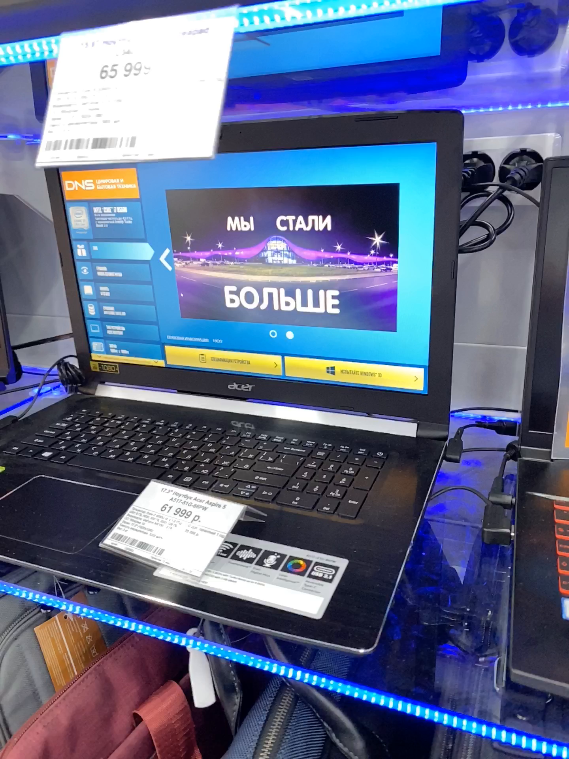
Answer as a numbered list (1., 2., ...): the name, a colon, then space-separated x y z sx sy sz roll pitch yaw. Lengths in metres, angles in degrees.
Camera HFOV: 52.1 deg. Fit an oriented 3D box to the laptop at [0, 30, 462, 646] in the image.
1. laptop: -0.105 -0.055 0.453 0.422 0.277 0.273 5 19 22
